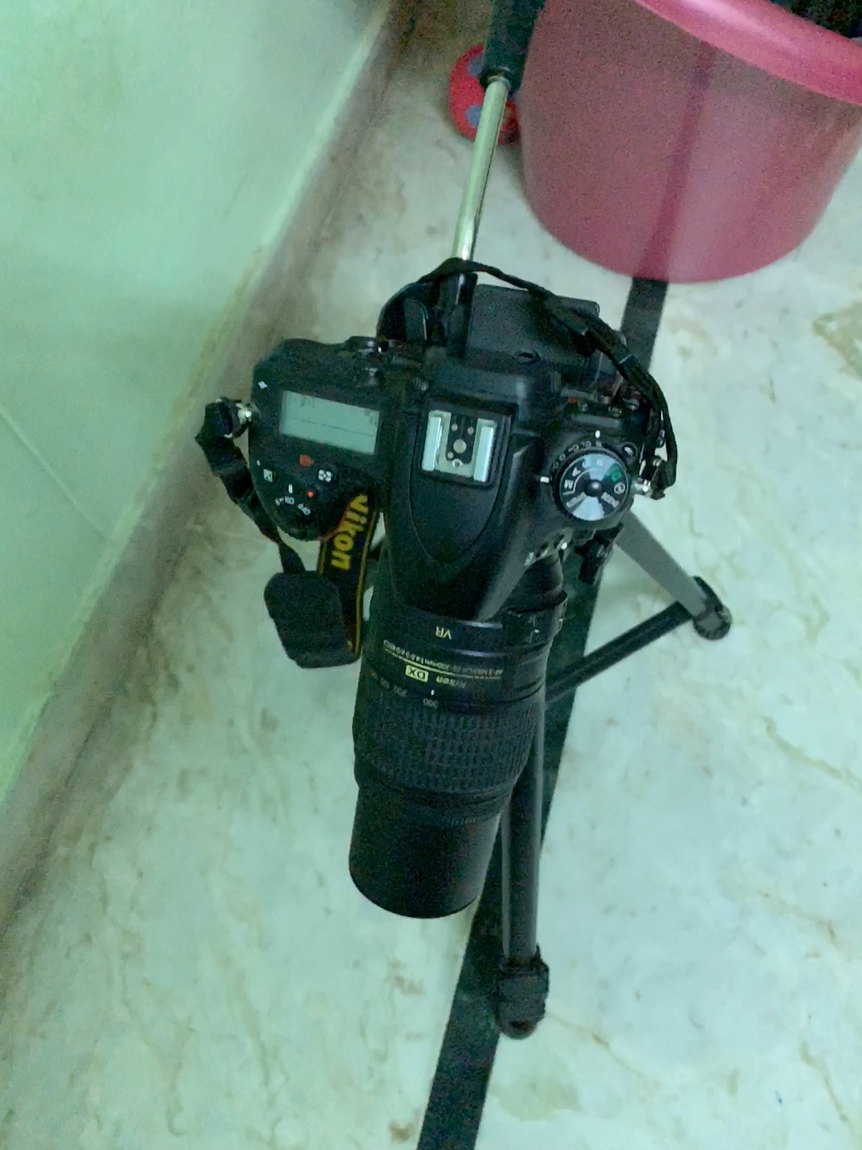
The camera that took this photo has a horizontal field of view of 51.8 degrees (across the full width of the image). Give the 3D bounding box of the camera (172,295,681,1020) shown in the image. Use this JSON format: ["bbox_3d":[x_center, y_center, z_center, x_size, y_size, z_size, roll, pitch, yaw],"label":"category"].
[{"bbox_3d":[-0.001,0.019,0.330,0.130,0.214,0.116,14,21,11],"label":"camera"}]
